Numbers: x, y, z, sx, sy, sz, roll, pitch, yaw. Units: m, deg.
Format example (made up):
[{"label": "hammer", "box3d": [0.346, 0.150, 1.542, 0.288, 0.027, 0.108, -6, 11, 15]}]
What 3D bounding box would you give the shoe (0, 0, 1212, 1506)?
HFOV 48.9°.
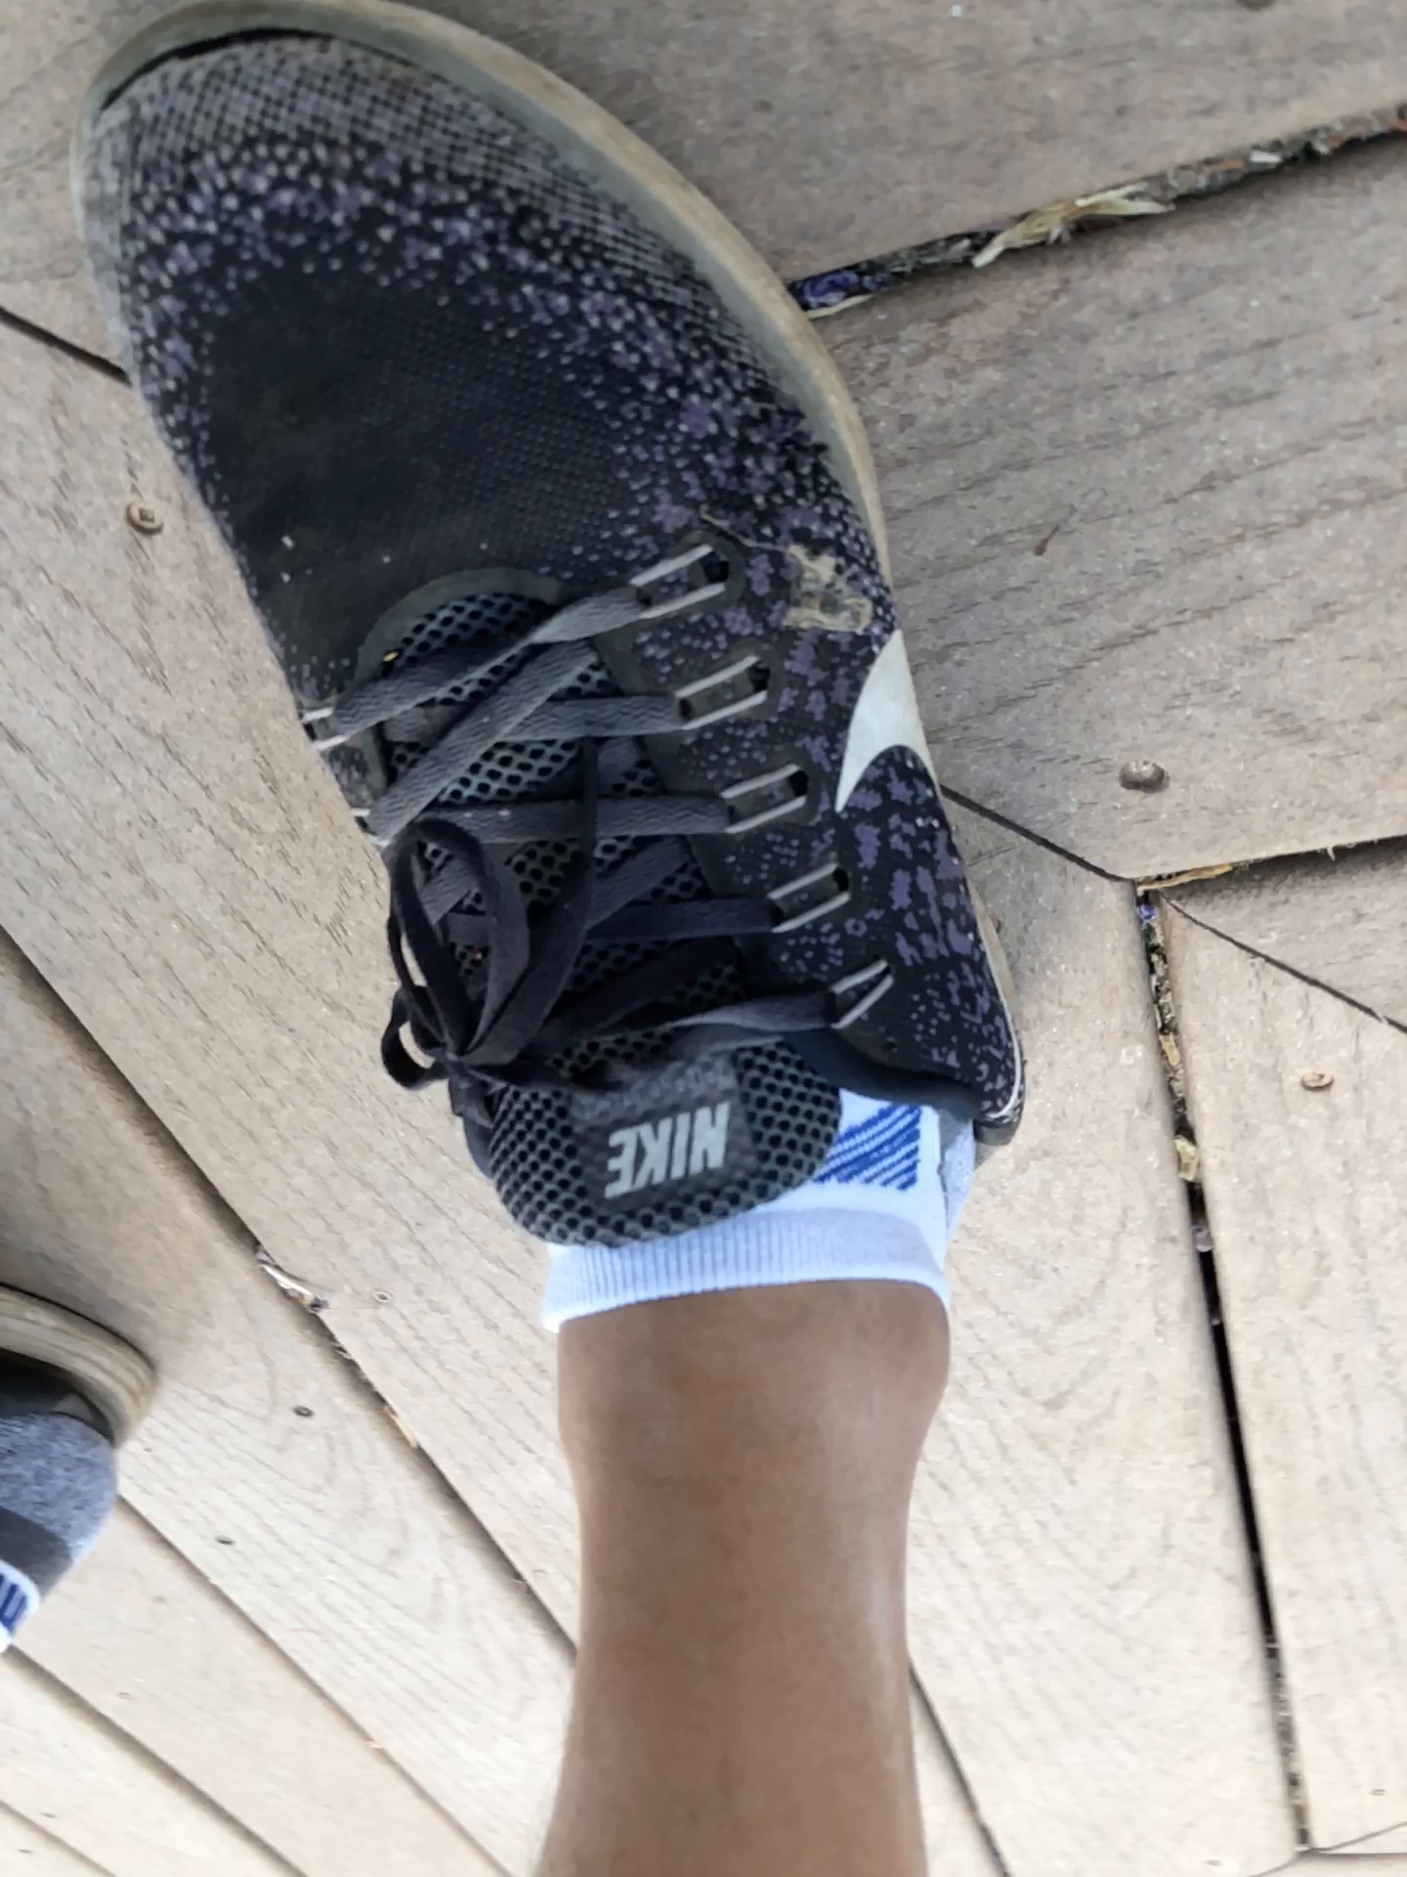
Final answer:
[{"label": "shoe", "box3d": [-0.014, -0.025, 0.303, 0.130, 0.100, 0.301, -17, 123, 23]}]
